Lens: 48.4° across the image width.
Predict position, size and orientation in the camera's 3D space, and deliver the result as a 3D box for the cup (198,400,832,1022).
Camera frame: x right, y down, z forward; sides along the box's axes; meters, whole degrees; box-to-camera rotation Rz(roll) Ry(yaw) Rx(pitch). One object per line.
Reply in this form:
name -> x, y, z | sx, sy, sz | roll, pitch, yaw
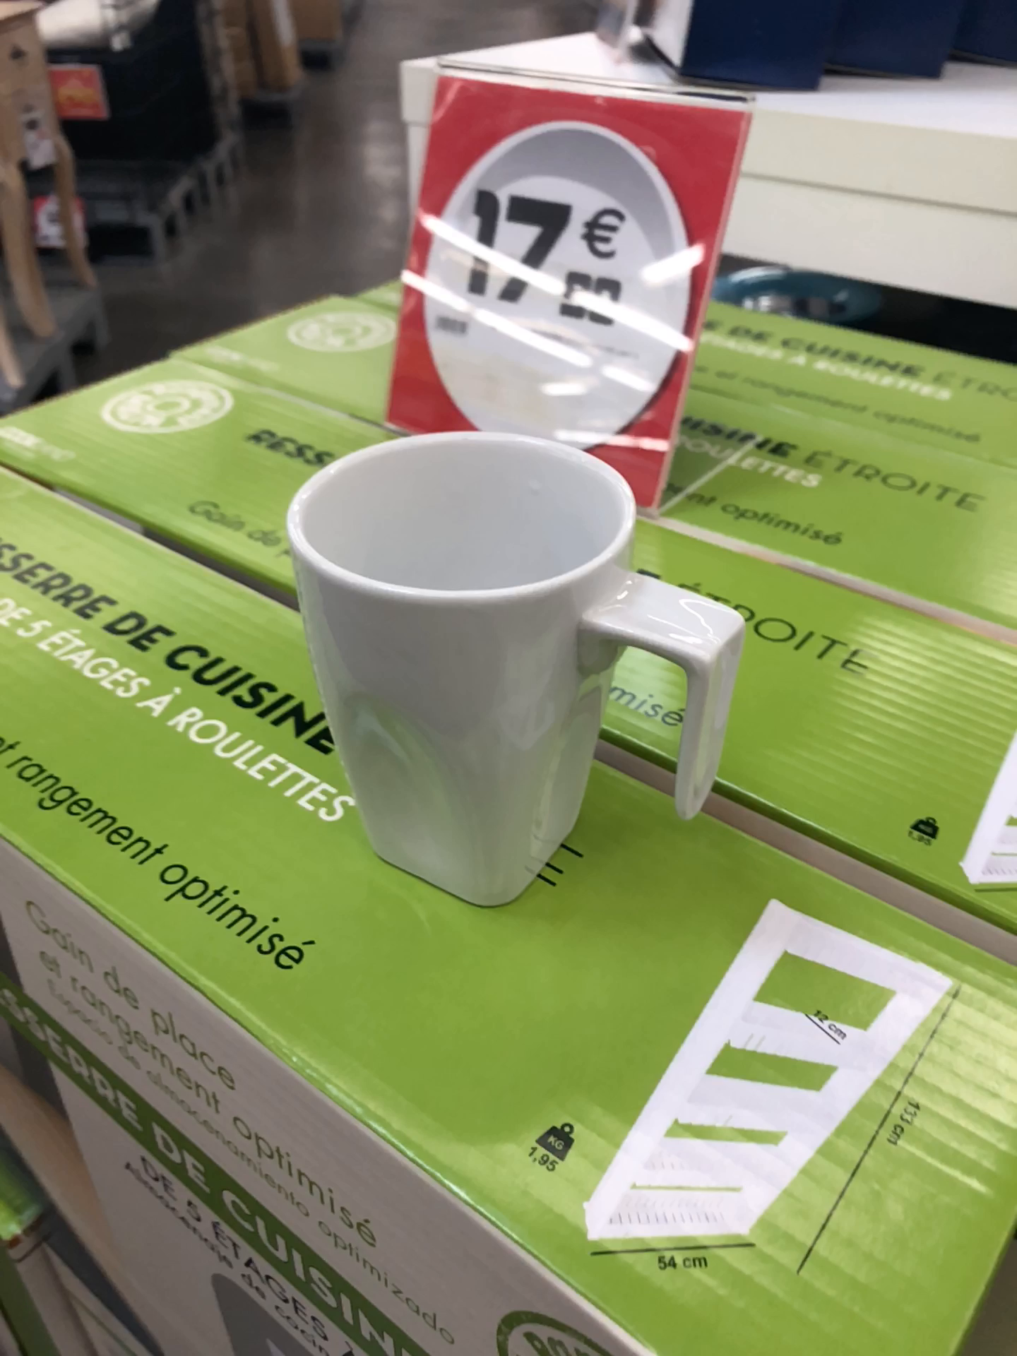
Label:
cup -> 0.002, 0.000, 0.272 | 0.111, 0.087, 0.083 | 22, 40, 27
